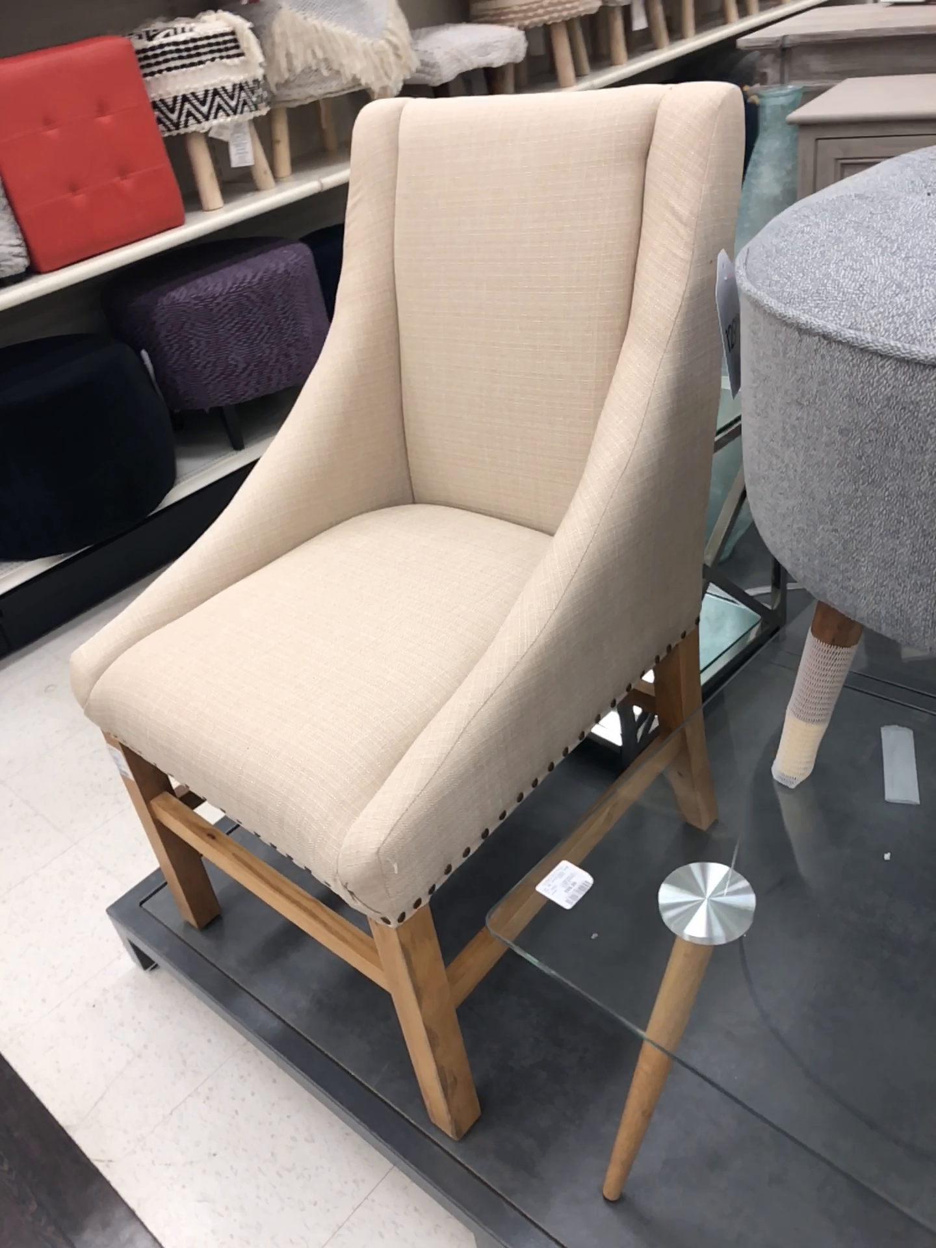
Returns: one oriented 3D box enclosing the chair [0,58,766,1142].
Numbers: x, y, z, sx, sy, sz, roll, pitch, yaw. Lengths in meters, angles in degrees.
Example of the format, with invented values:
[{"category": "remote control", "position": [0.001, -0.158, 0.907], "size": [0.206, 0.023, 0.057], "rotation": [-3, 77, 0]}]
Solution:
[{"category": "chair", "position": [-0.079, -0.065, 1.262], "size": [0.612, 0.966, 0.650], "rotation": [21, 45, 39]}]
